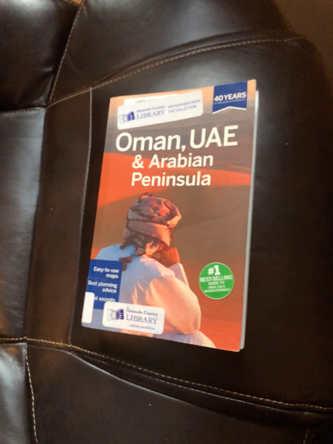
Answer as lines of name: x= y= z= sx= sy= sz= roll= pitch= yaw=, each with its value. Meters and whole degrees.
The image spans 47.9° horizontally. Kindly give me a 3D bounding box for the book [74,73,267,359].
book: x=0.004 y=-0.008 z=0.300 sx=0.138 sy=0.030 sz=0.203 roll=1 pitch=81 yaw=21
